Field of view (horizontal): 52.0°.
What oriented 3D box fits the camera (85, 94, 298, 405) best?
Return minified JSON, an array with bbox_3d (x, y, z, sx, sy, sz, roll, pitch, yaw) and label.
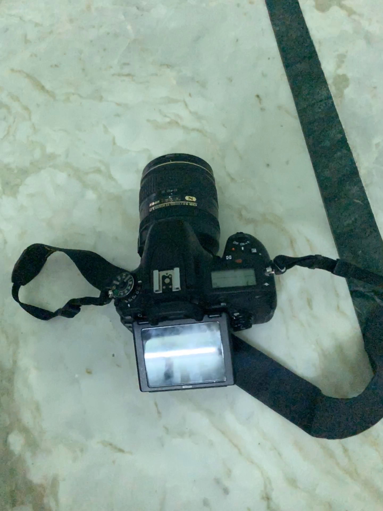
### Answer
[{"bbox_3d":[0.000,-0.006,0.367,0.146,0.100,0.258,-6,64,7],"label":"camera"}]
